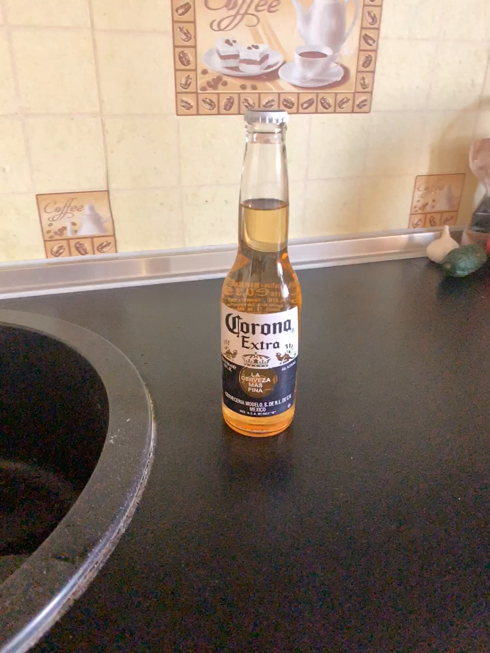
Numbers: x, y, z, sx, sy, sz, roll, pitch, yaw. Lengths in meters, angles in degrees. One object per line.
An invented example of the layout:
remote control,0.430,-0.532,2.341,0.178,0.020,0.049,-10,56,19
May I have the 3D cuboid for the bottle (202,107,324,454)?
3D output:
bottle,0.010,-0.026,0.377,0.070,0.249,0.070,1,27,0
